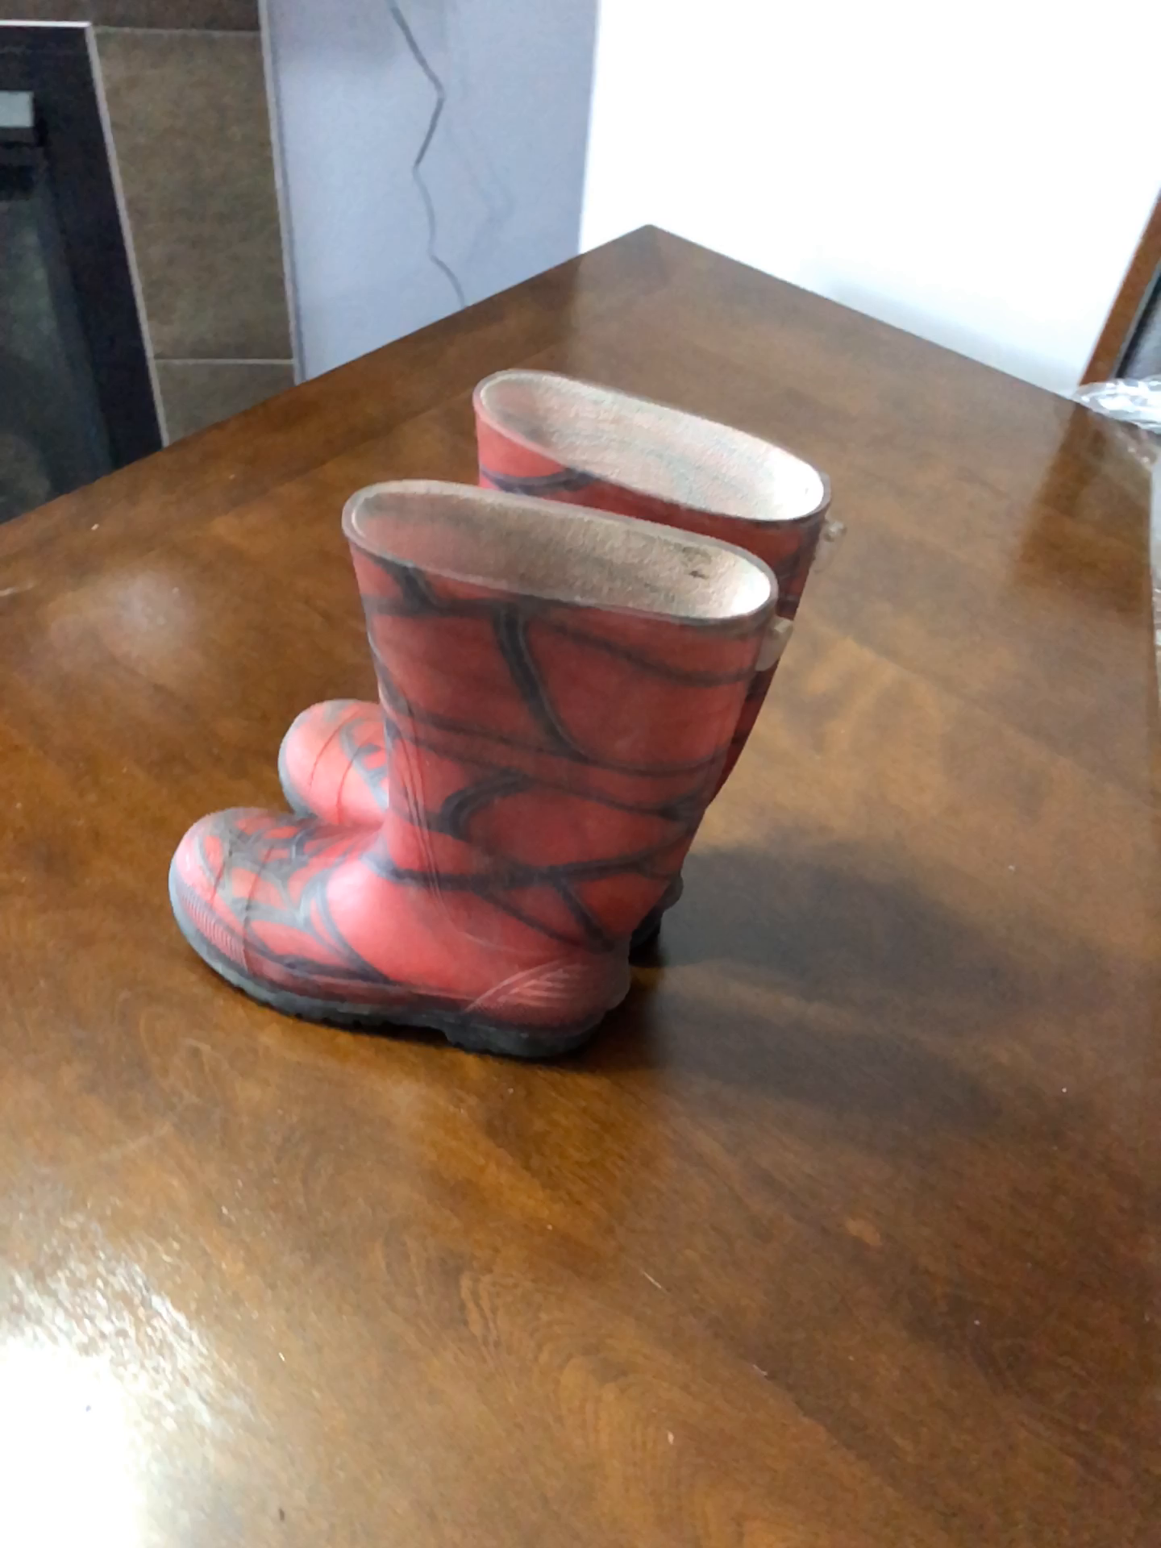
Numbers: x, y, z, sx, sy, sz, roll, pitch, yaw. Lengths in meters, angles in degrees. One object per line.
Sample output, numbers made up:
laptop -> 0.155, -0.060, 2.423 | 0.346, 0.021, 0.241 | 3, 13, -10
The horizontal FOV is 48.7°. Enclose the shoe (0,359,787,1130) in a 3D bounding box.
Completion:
shoe -> -0.063, 0.002, 0.466 | 0.220, 0.239, 0.080 | 16, 47, 9

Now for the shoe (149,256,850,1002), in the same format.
shoe -> -0.036, -0.048, 0.513 | 0.220, 0.239, 0.080 | 20, 48, 13
